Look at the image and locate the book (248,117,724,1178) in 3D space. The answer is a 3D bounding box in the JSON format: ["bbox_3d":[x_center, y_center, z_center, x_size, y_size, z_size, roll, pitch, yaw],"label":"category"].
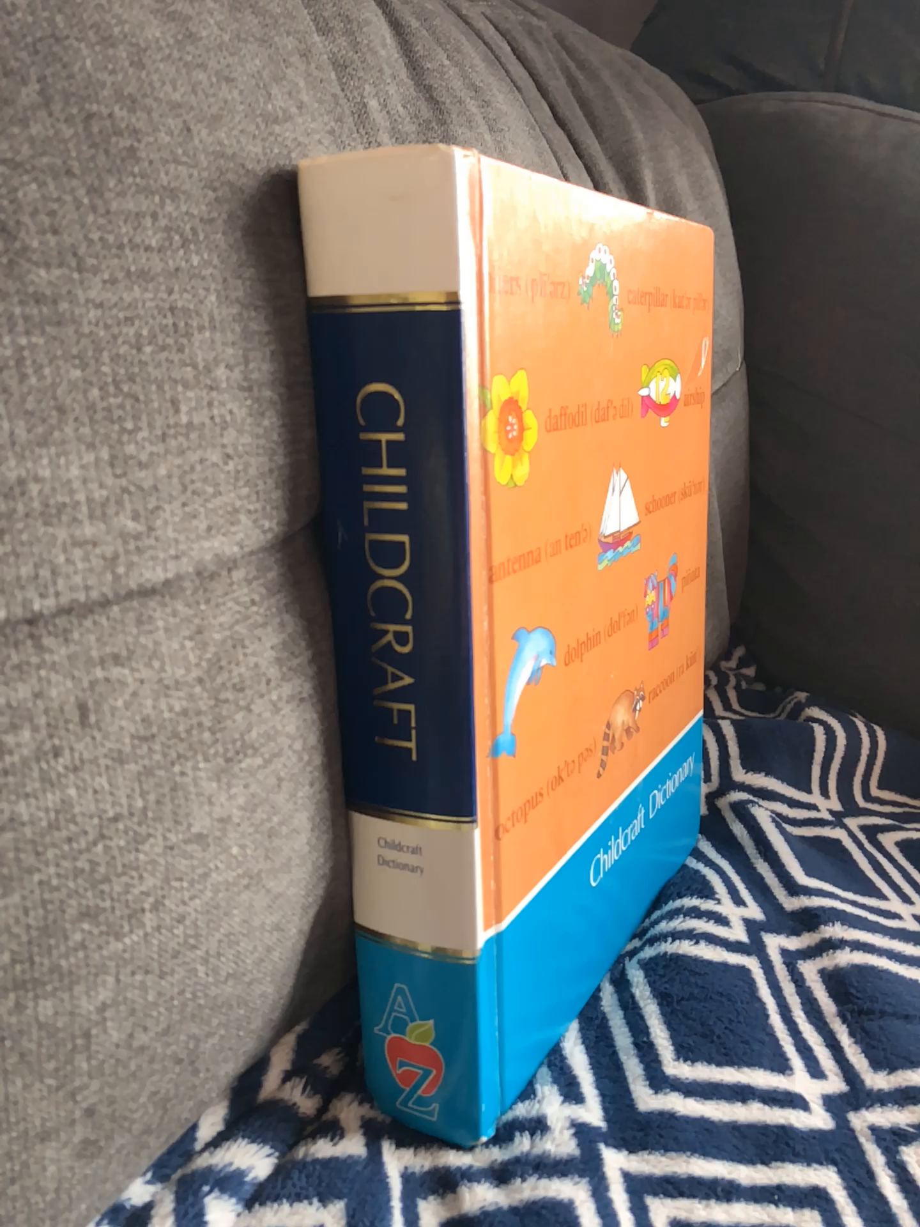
[{"bbox_3d":[0.030,-0.003,0.342,0.055,0.260,0.210,6,16,28],"label":"book"}]
